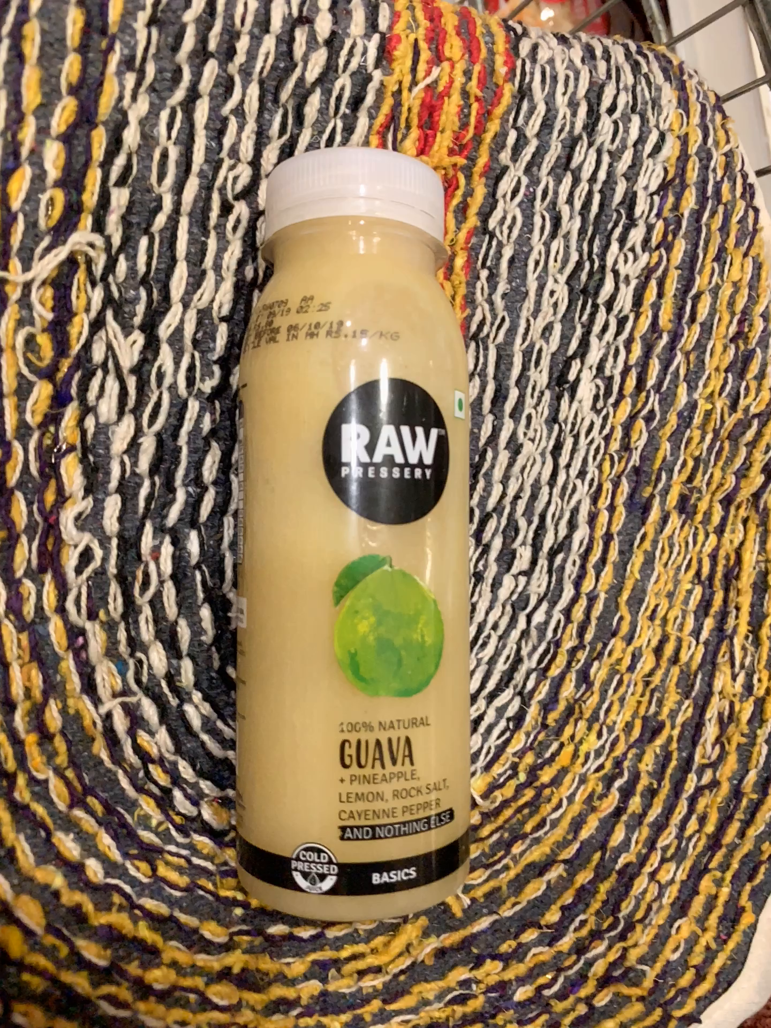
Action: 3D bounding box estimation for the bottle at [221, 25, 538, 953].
[{"bbox_3d":[-0.004,-0.005,0.166,0.050,0.040,0.160,0,87,-23],"label":"bottle"}]
